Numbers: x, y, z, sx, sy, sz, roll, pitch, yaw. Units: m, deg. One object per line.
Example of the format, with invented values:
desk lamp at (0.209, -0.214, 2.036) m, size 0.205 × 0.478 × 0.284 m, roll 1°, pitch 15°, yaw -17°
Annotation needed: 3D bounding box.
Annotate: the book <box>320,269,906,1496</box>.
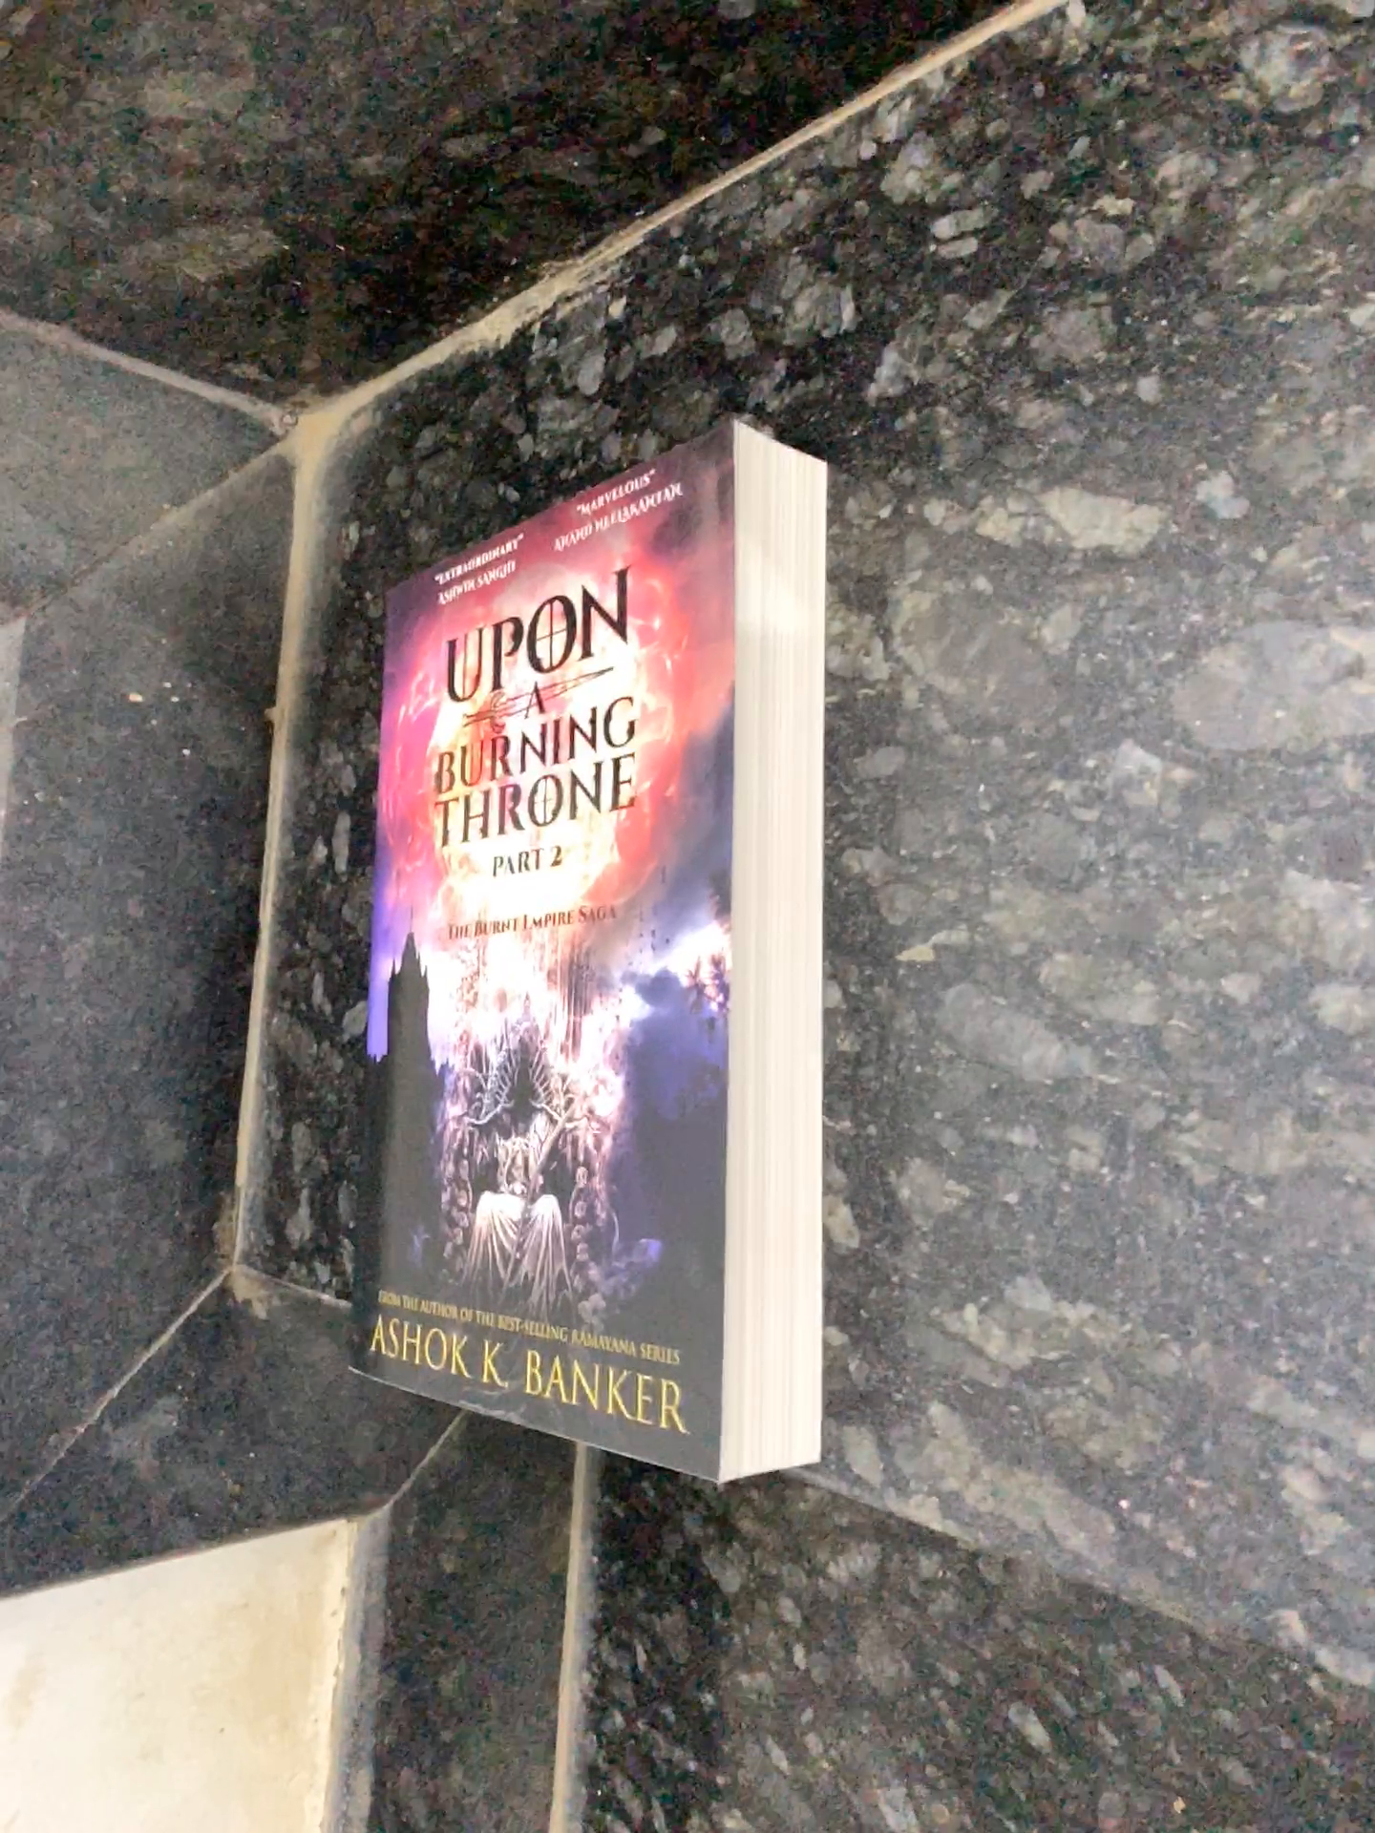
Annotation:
book at (-0.021, -0.004, 0.290) m, size 0.141 × 0.030 × 0.200 m, roll -7°, pitch 79°, yaw 47°
